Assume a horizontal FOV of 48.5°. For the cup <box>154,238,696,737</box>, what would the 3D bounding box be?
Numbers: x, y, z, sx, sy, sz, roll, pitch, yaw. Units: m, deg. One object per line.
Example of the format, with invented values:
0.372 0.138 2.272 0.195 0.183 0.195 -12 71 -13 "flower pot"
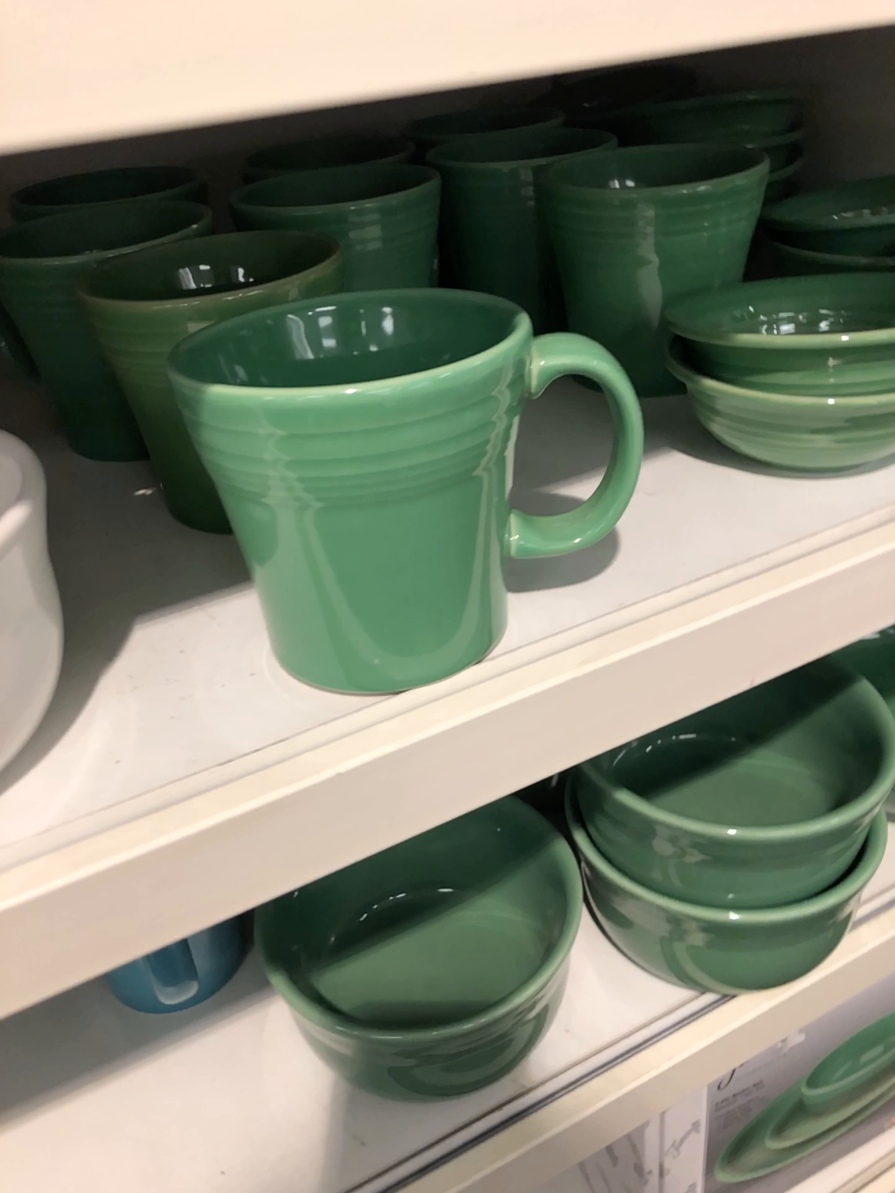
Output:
-0.012 -0.041 0.310 0.134 0.098 0.107 -10 34 -9 "cup"
